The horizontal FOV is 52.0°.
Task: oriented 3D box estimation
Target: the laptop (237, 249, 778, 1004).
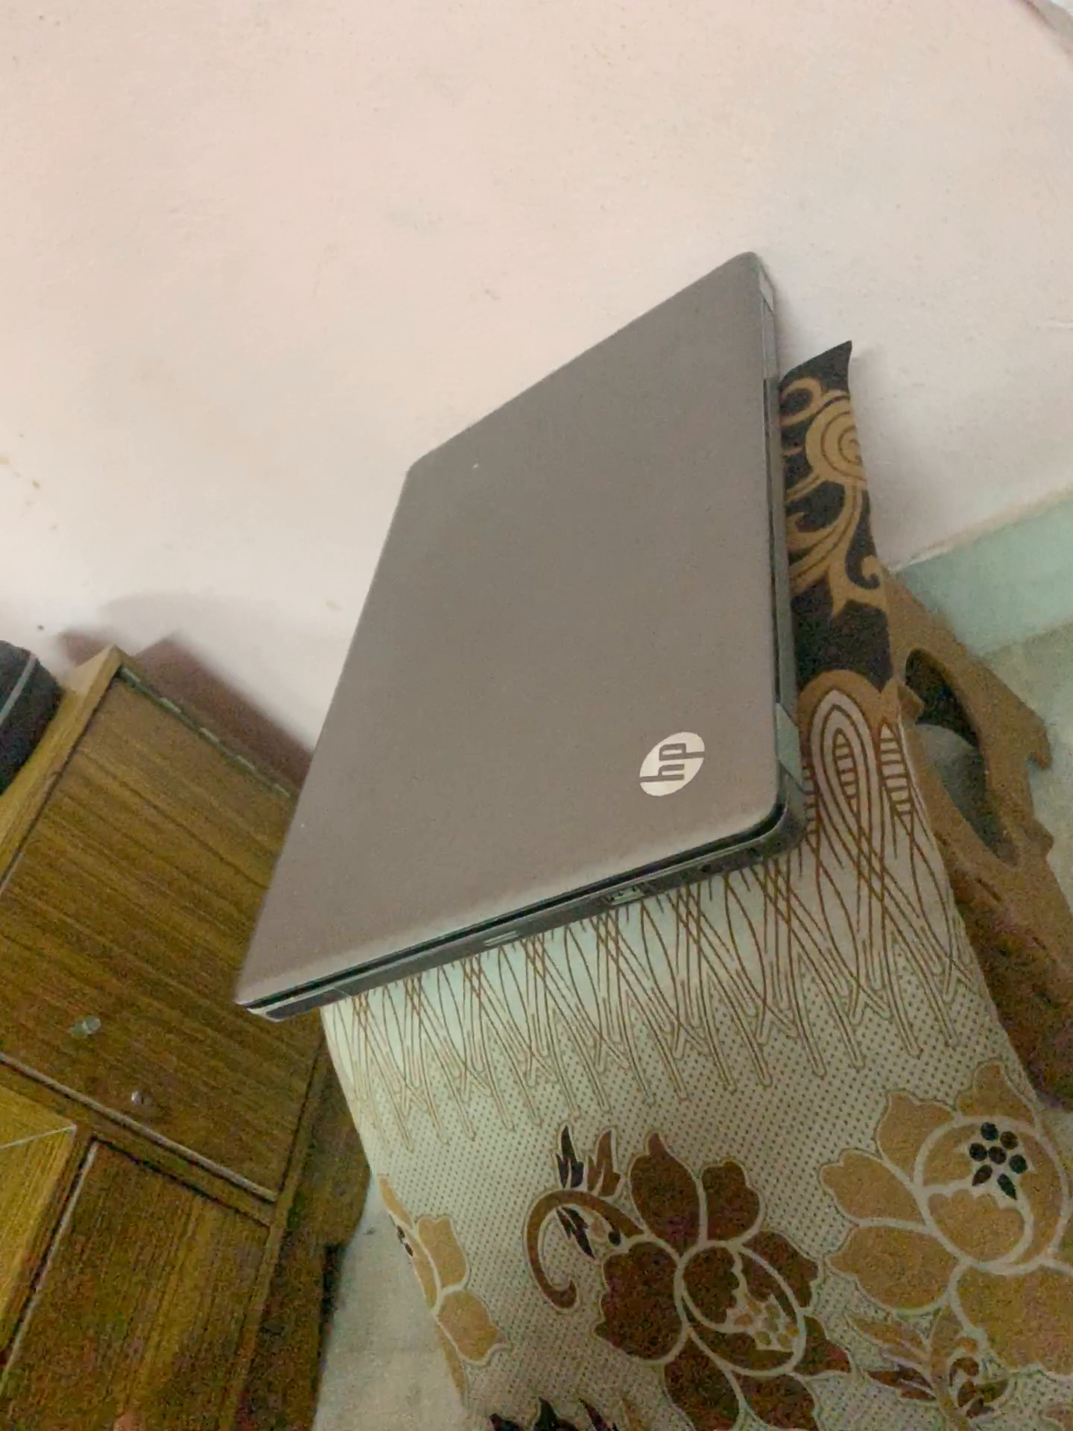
[{"bbox_3d":[-0.005,-0.064,0.522,0.249,0.002,0.381,-24,39,31],"label":"laptop"}]
